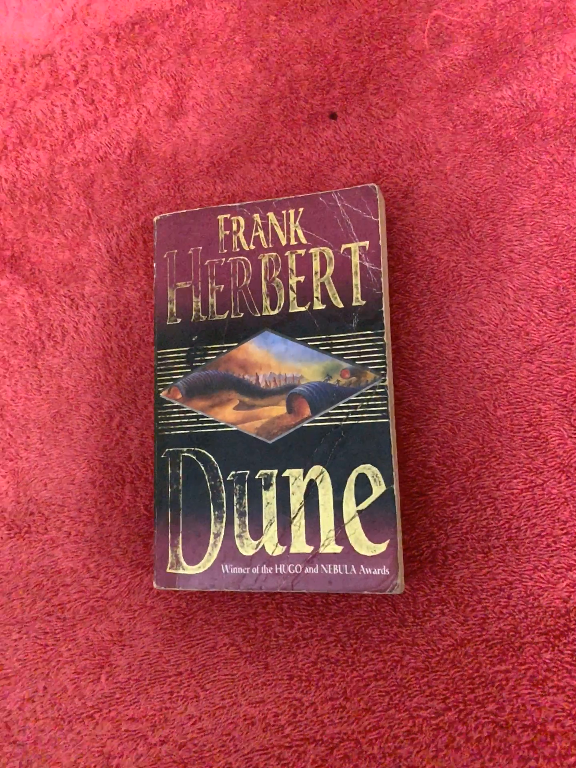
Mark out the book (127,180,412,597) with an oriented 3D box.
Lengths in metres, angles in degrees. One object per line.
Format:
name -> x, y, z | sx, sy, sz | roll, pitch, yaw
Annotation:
book -> -0.010, 0.004, 0.266 | 0.114, 0.040, 0.165 | -5, 80, 16
